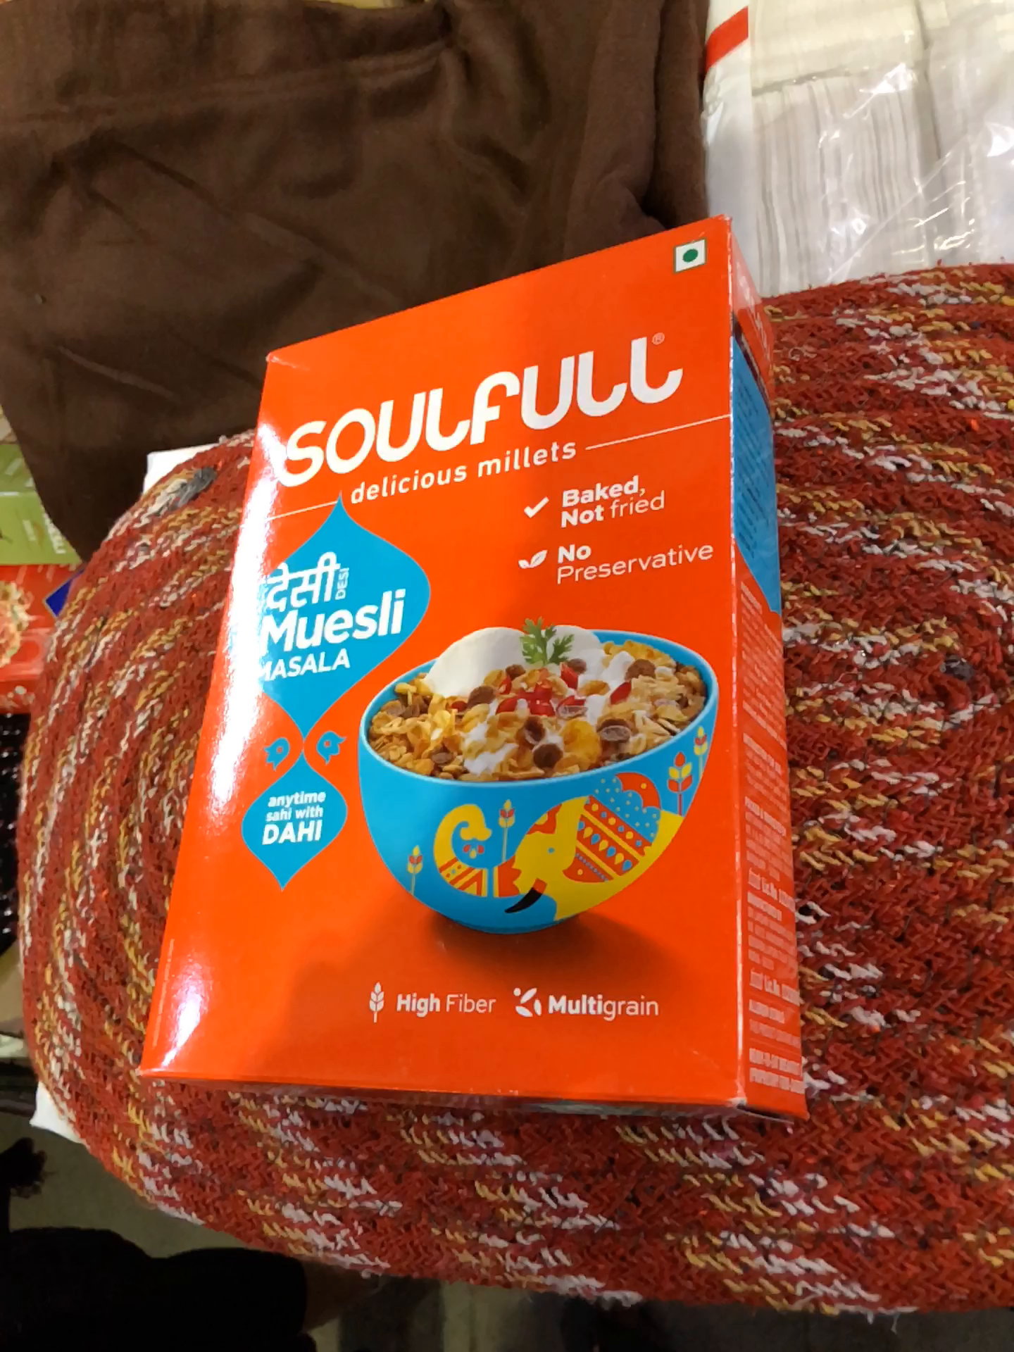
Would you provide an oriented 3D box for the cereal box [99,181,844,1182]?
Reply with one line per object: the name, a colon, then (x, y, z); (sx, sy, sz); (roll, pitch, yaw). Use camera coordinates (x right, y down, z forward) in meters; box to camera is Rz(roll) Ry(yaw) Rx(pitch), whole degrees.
cereal box: (-0.006, 0.001, 0.333); (0.180, 0.060, 0.261); (-9, 63, 27)
